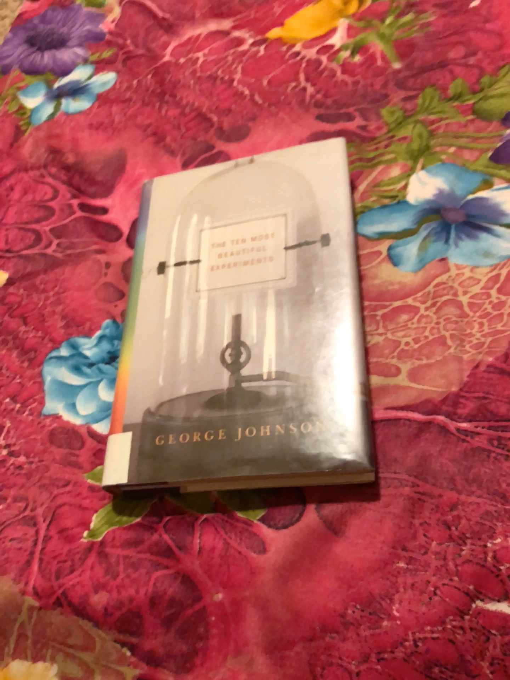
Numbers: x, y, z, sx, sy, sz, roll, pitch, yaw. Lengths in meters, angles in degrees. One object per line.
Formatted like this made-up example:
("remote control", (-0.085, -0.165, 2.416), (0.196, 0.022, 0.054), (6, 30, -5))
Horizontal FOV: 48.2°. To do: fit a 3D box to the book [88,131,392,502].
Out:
("book", (-0.008, -0.019, 0.316), (0.140, 0.030, 0.200), (-8, 60, 15))
